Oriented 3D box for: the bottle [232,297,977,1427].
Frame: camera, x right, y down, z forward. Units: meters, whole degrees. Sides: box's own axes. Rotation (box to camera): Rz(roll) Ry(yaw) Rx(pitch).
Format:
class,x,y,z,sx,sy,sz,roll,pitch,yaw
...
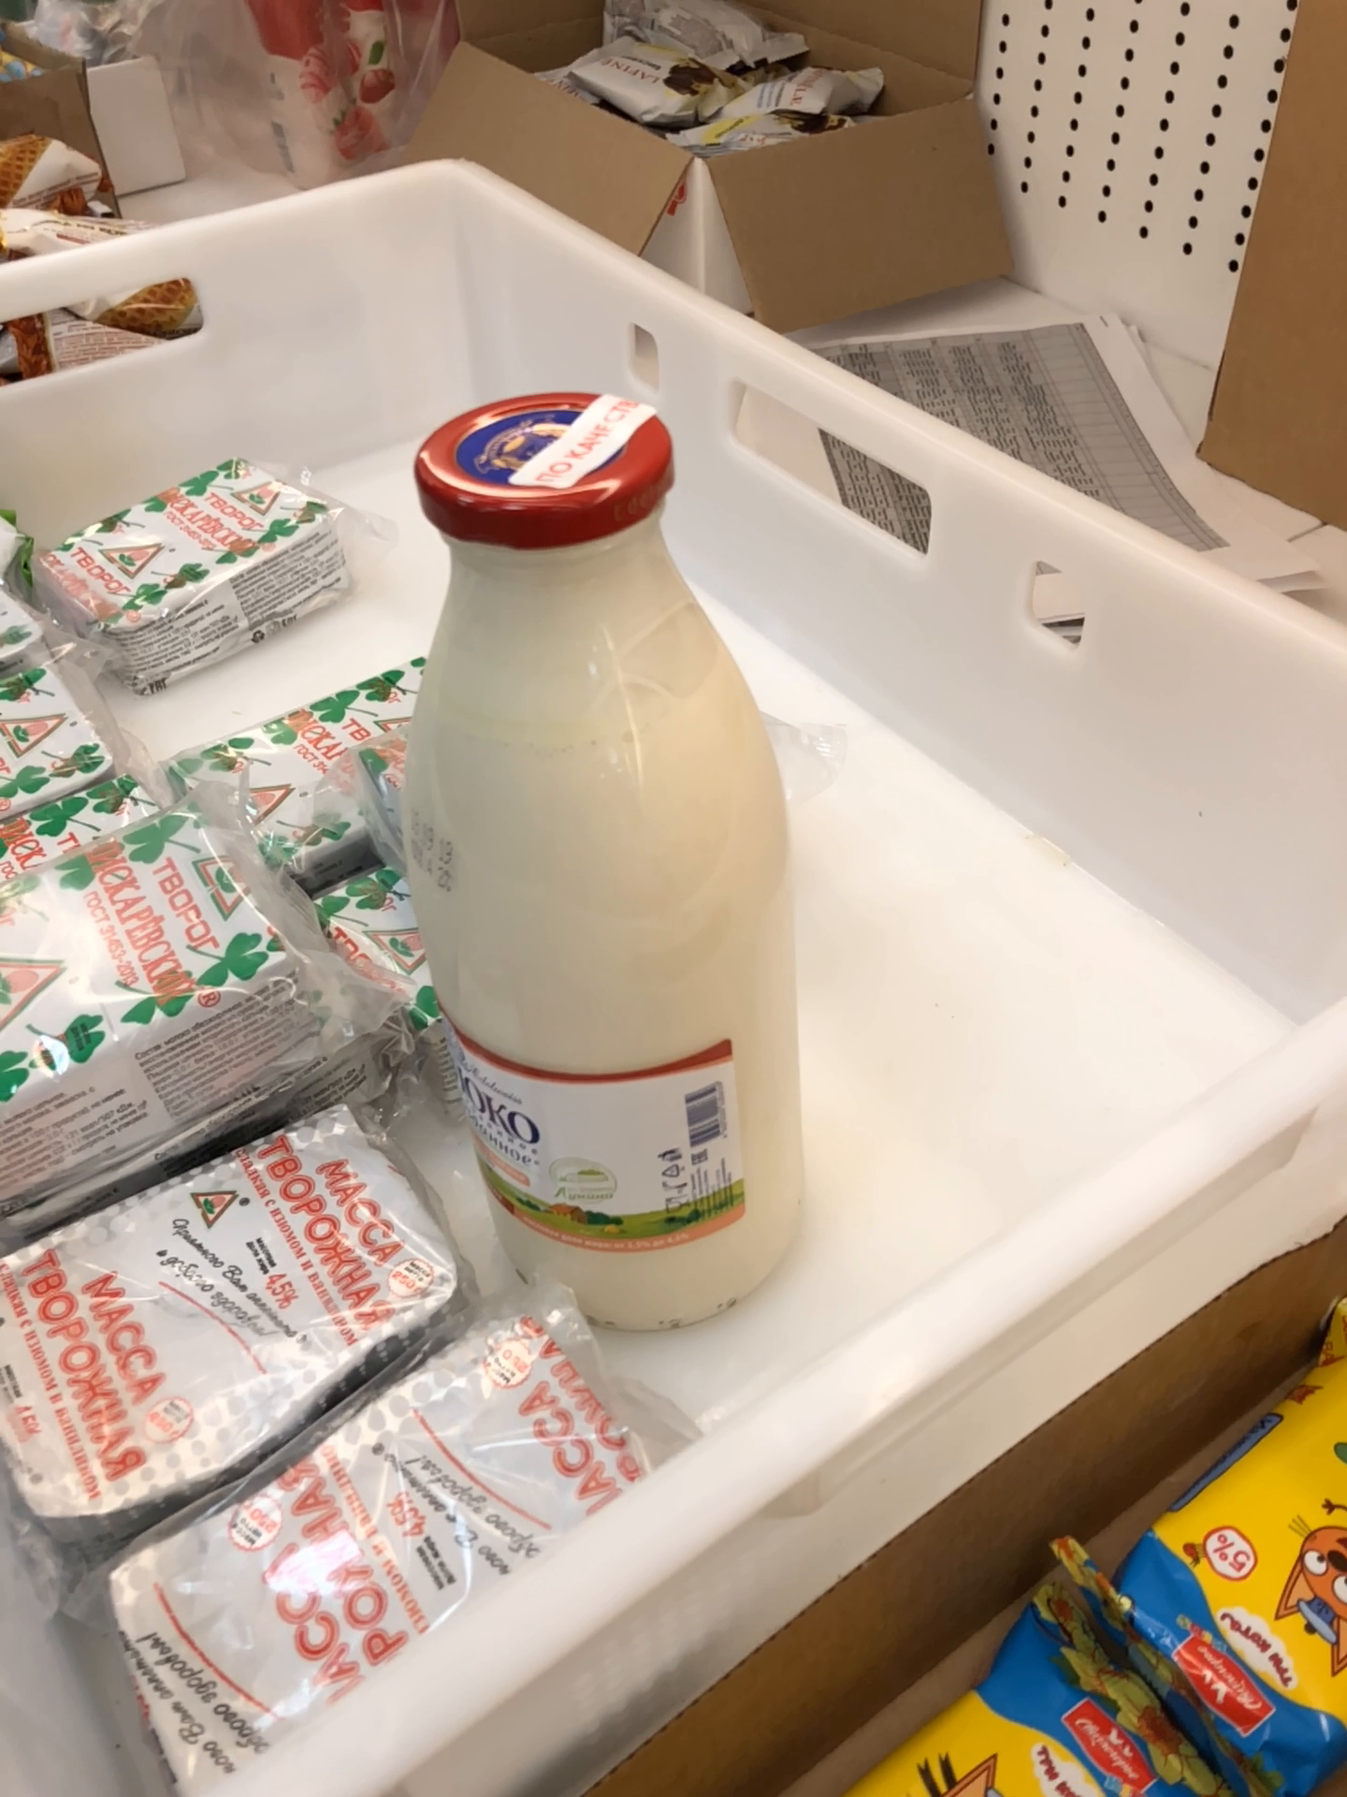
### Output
class,x,y,z,sx,sy,sz,roll,pitch,yaw
bottle,-0.011,0.002,0.314,0.090,0.209,0.090,-1,43,1
